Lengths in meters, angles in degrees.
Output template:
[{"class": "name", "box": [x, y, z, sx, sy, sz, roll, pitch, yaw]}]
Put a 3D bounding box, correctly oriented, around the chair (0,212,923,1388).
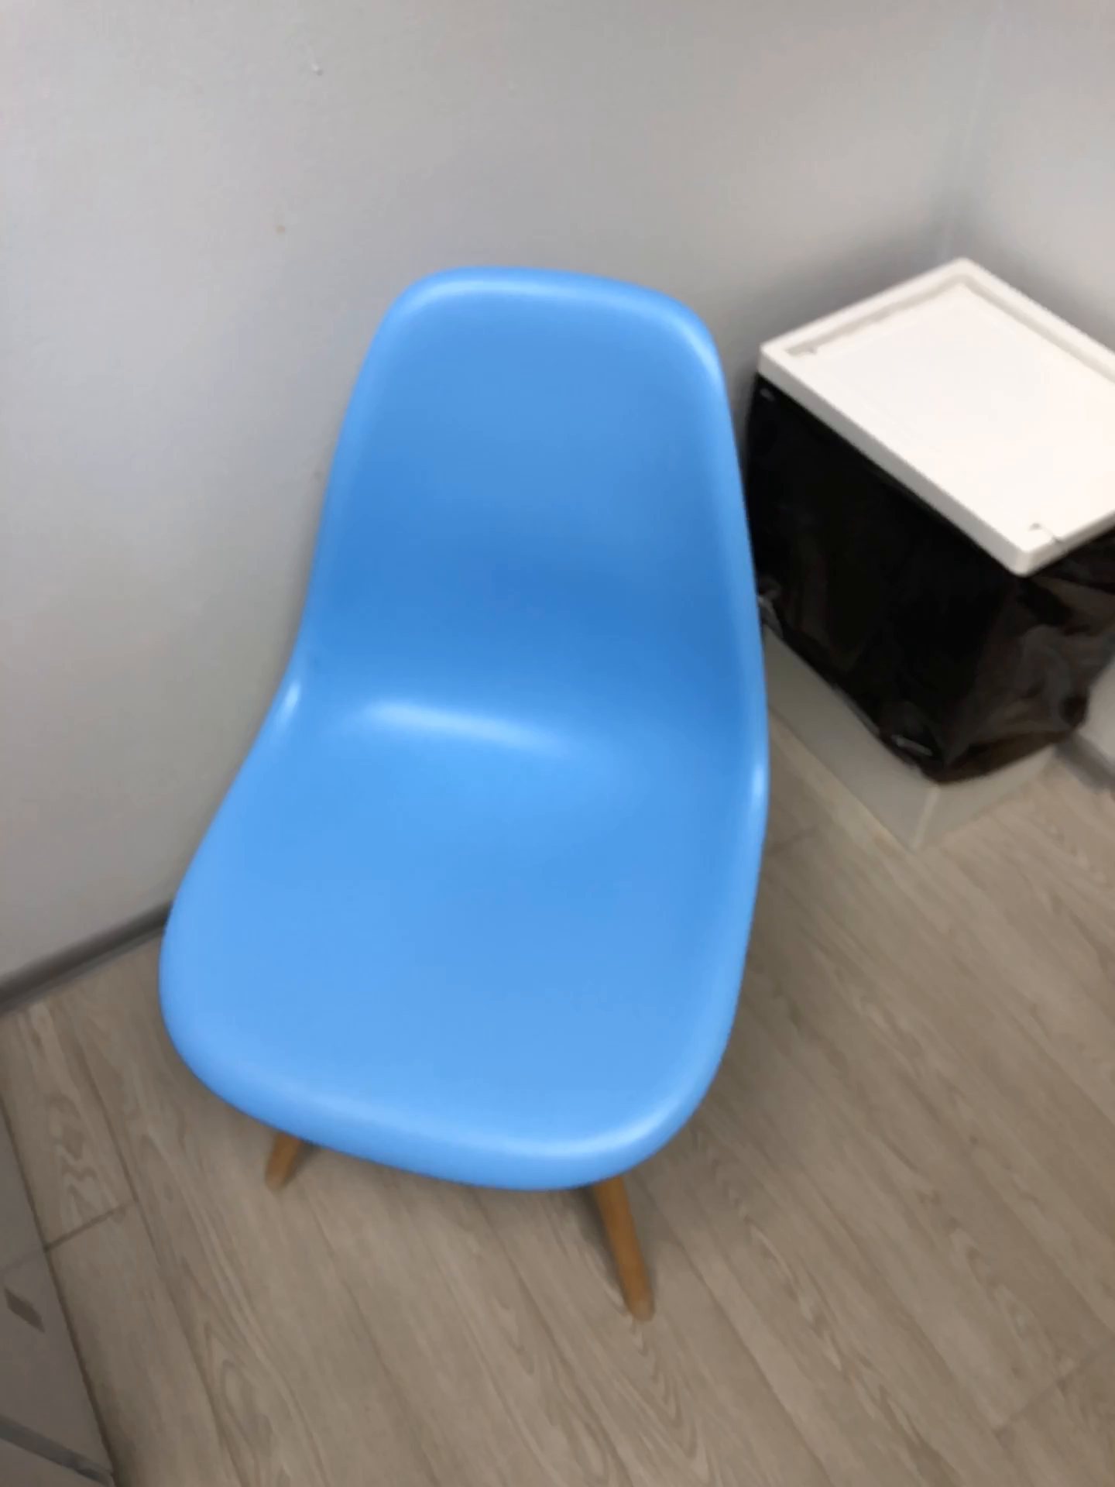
[{"class": "chair", "box": [-0.048, 0.092, 1.030, 0.460, 0.776, 0.533, 15, 54, 14]}]
